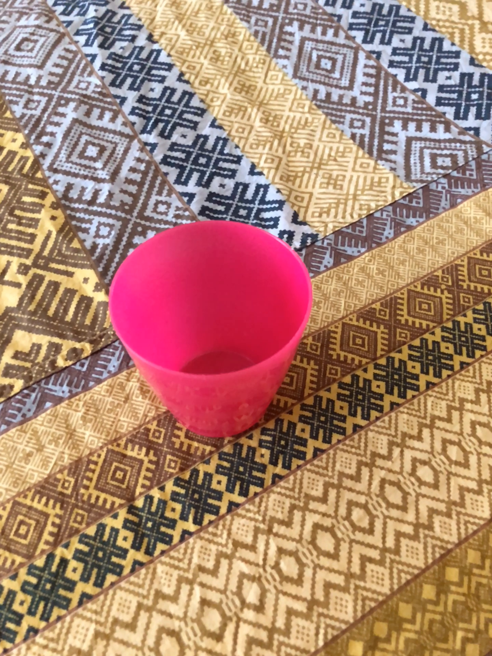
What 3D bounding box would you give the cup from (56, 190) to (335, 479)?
[{"bbox_3d":[-0.017,0.003,0.234,0.077,0.067,0.079,1,57,-1],"label":"cup"}]
